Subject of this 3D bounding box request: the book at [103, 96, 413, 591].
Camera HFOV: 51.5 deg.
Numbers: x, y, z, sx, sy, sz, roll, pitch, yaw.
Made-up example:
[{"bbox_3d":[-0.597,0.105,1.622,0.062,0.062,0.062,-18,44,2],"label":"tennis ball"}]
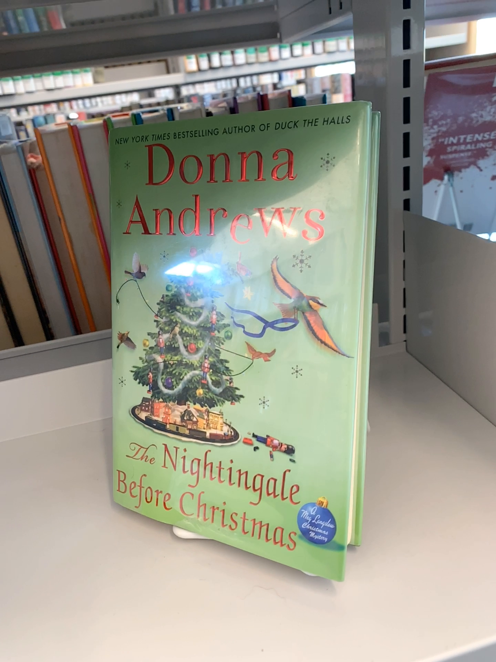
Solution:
[{"bbox_3d":[-0.005,0.001,0.258,0.145,0.200,0.040,7,9,29],"label":"book"}]
